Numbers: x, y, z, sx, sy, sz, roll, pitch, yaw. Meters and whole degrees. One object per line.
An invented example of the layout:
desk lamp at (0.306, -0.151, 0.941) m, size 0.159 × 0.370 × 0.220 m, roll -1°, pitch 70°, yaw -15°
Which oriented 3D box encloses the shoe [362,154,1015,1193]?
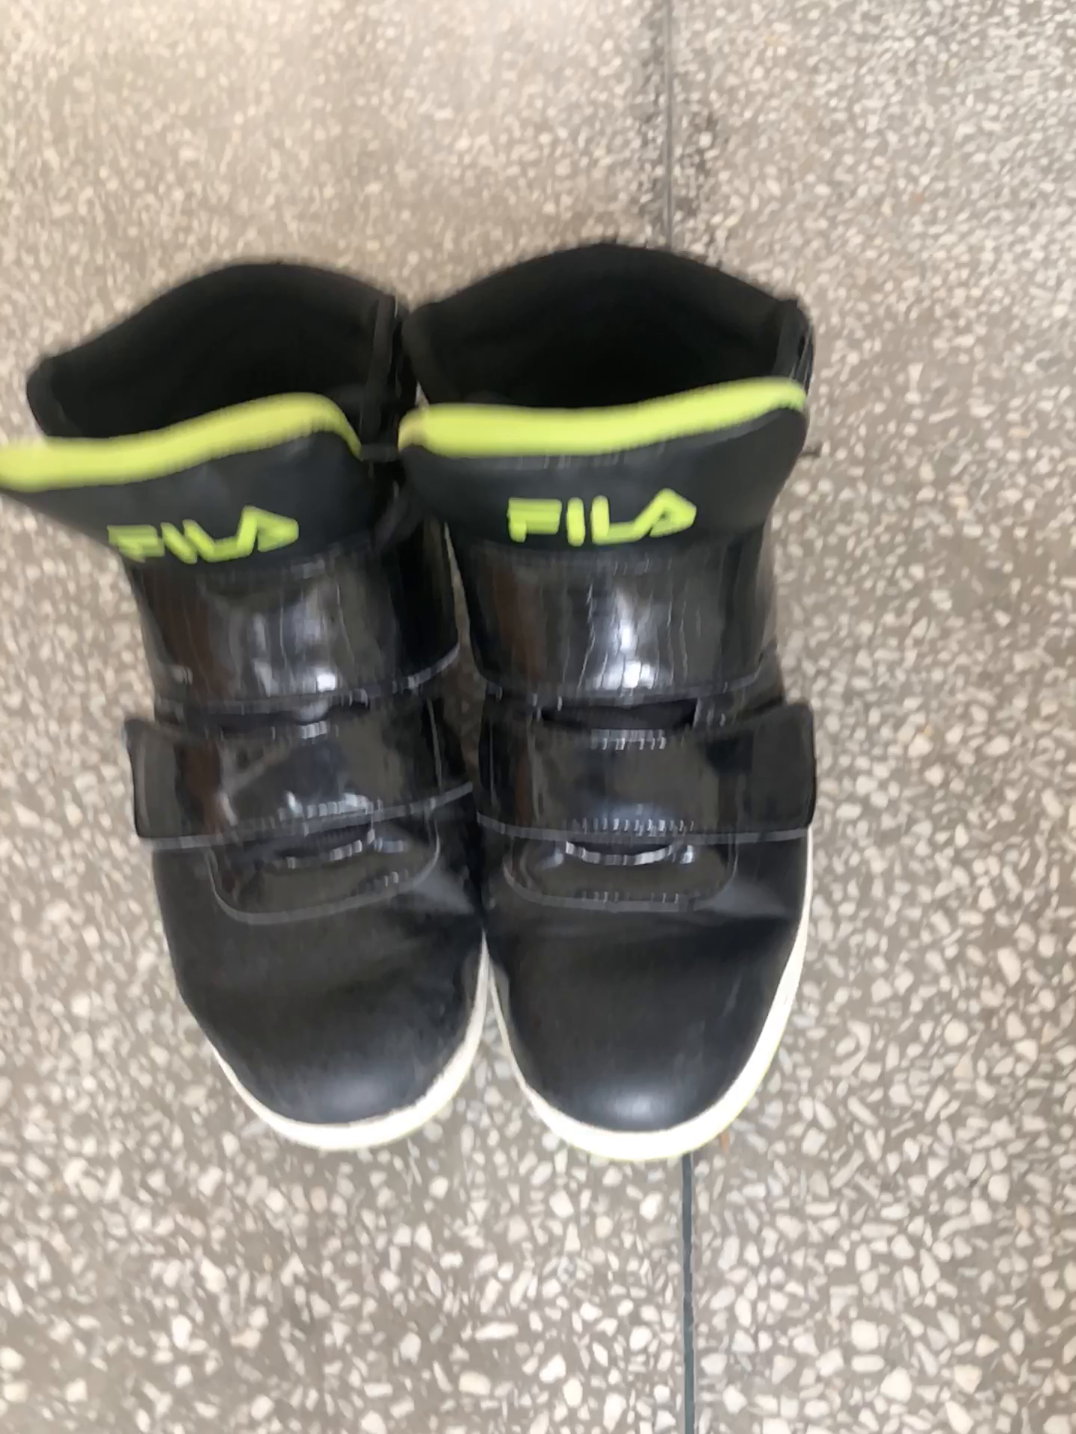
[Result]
shoe at (0.027, -0.009, 0.344) m, size 0.120 × 0.148 × 0.250 m, roll -4°, pitch 62°, yaw 2°

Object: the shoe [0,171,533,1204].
shoe at (-0.086, -0.009, 0.375) m, size 0.120 × 0.148 × 0.270 m, roll -10°, pitch 62°, yaw -1°
